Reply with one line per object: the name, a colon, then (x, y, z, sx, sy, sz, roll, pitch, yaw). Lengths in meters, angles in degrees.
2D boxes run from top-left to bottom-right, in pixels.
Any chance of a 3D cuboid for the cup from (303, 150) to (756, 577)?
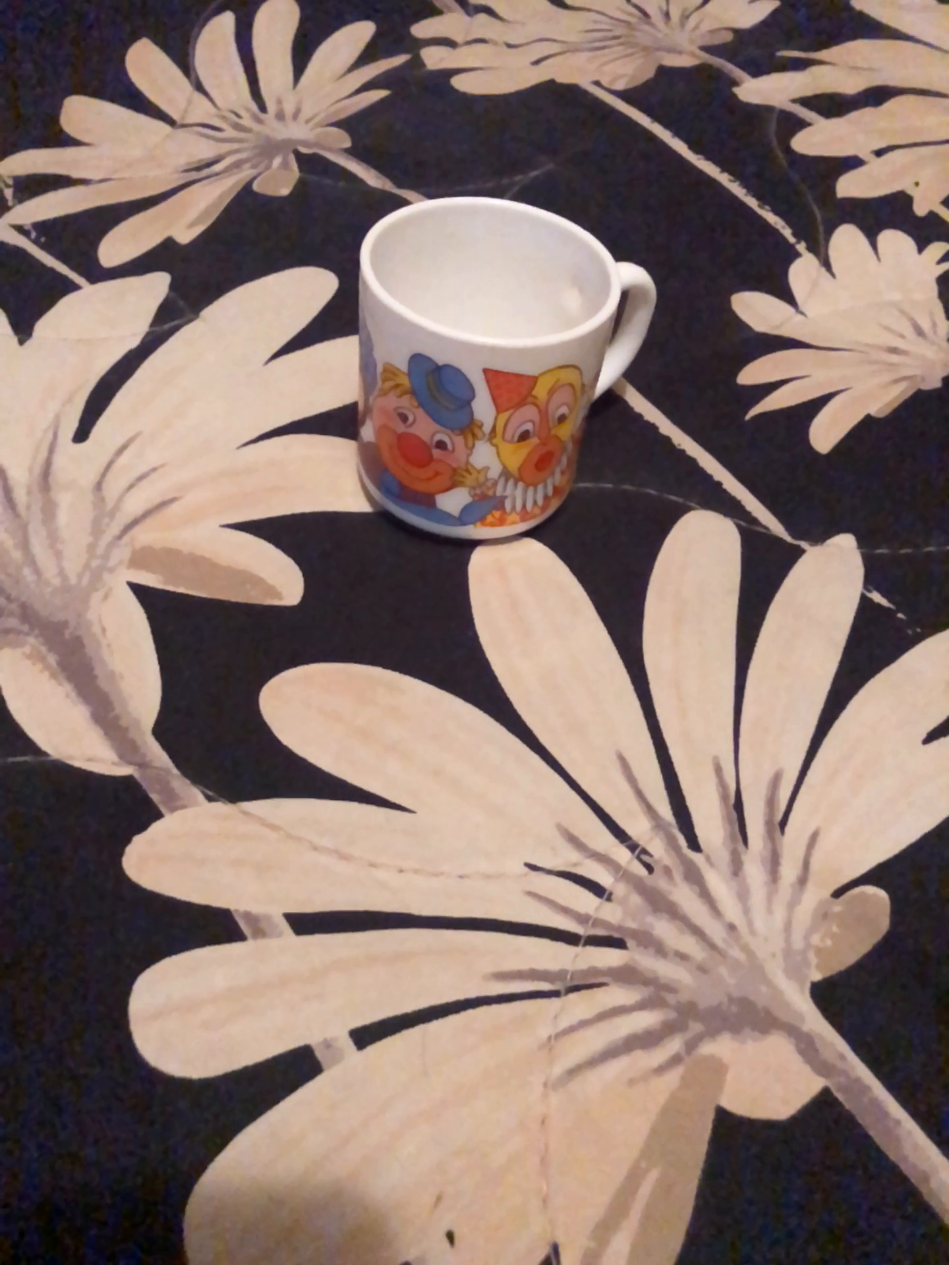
cup: (0.013, -0.089, 0.341, 0.108, 0.077, 0.085, -19, 55, -16)
